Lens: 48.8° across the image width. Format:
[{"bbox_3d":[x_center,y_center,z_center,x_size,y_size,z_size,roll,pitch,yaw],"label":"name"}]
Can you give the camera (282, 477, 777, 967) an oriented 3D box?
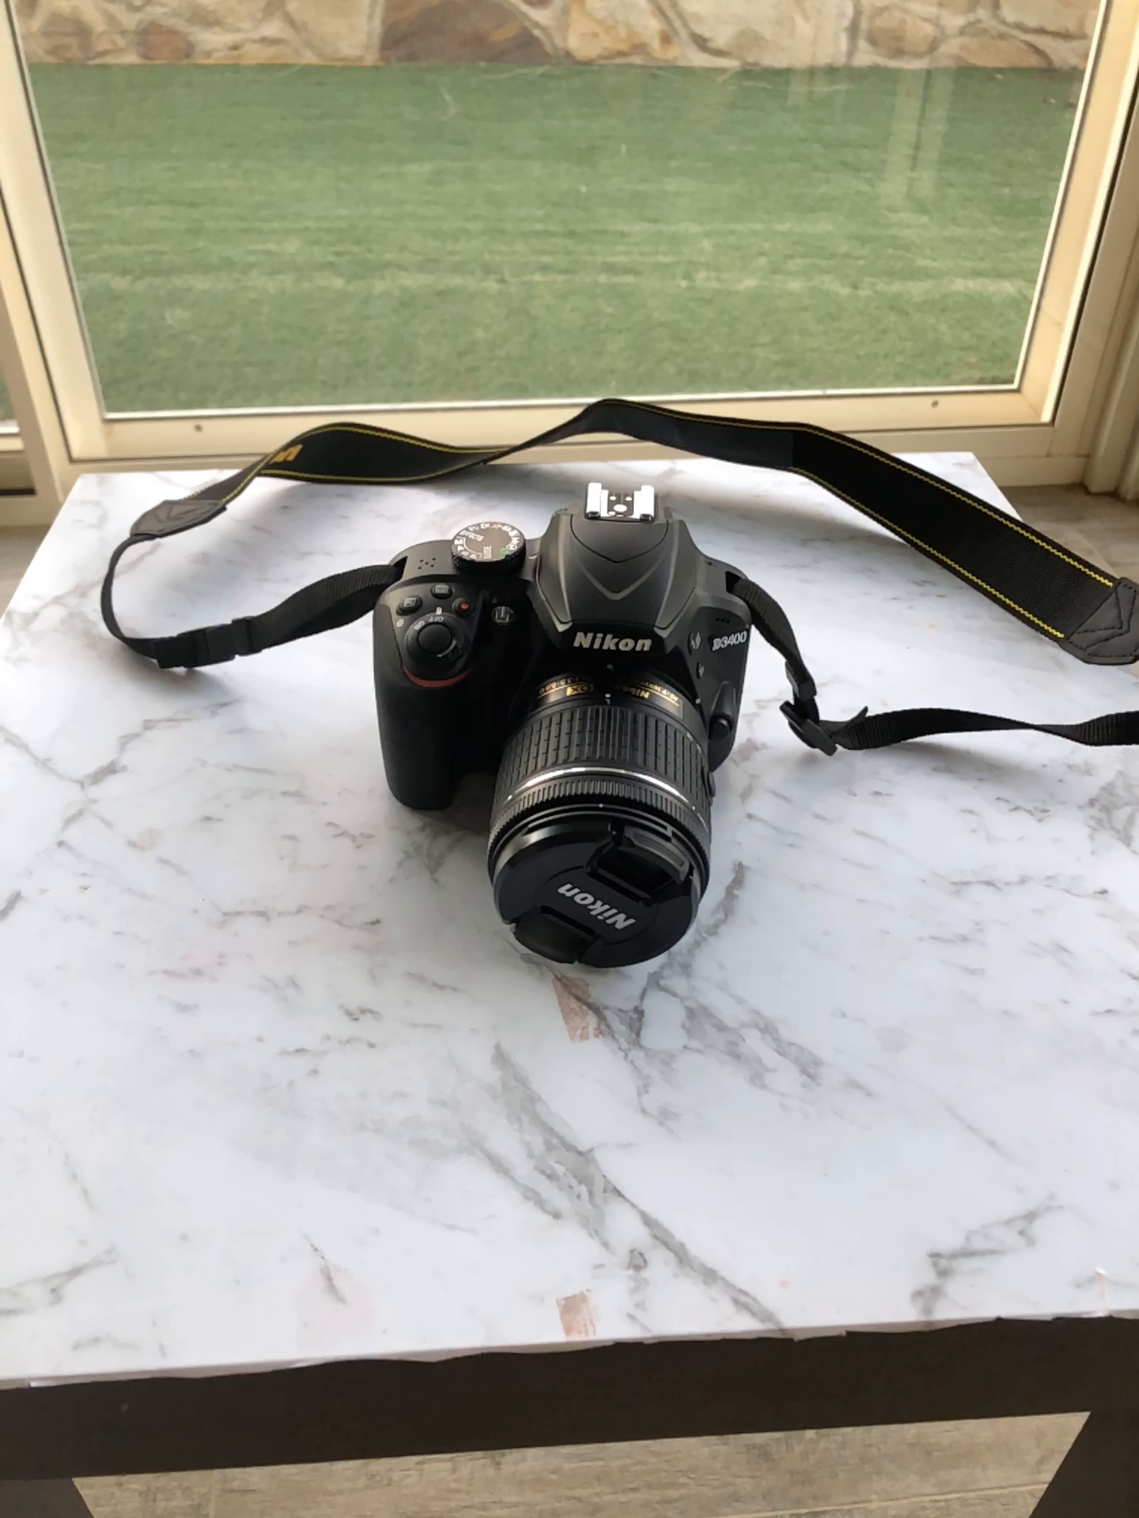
[{"bbox_3d":[-0.007,-0.017,0.383,0.121,0.076,0.138,2,41,2],"label":"camera"}]
